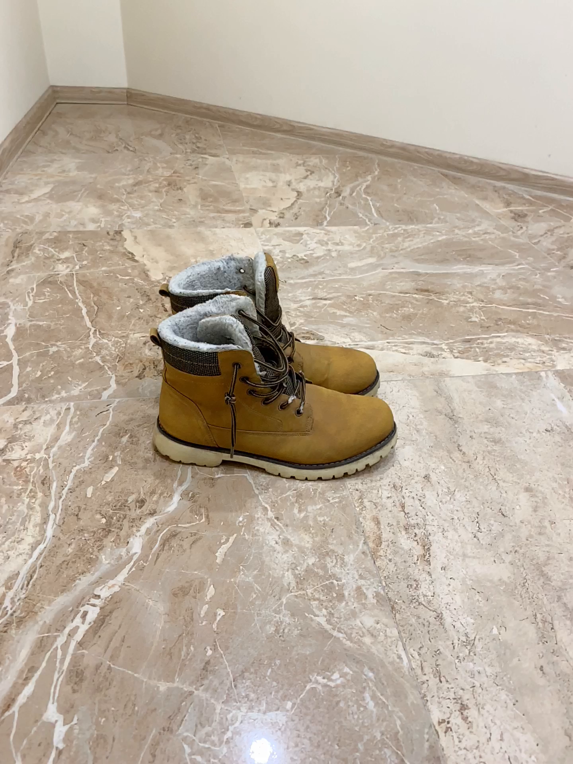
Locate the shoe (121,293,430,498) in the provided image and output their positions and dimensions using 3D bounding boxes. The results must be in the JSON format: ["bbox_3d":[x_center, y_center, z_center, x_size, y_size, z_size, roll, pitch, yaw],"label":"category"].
[{"bbox_3d":[-0.012,0.014,0.627,0.280,0.159,0.121,4,34,0],"label":"shoe"}]

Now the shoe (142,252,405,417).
[{"bbox_3d":[-0.015,-0.059,0.713,0.280,0.139,0.121,4,34,0],"label":"shoe"}]
